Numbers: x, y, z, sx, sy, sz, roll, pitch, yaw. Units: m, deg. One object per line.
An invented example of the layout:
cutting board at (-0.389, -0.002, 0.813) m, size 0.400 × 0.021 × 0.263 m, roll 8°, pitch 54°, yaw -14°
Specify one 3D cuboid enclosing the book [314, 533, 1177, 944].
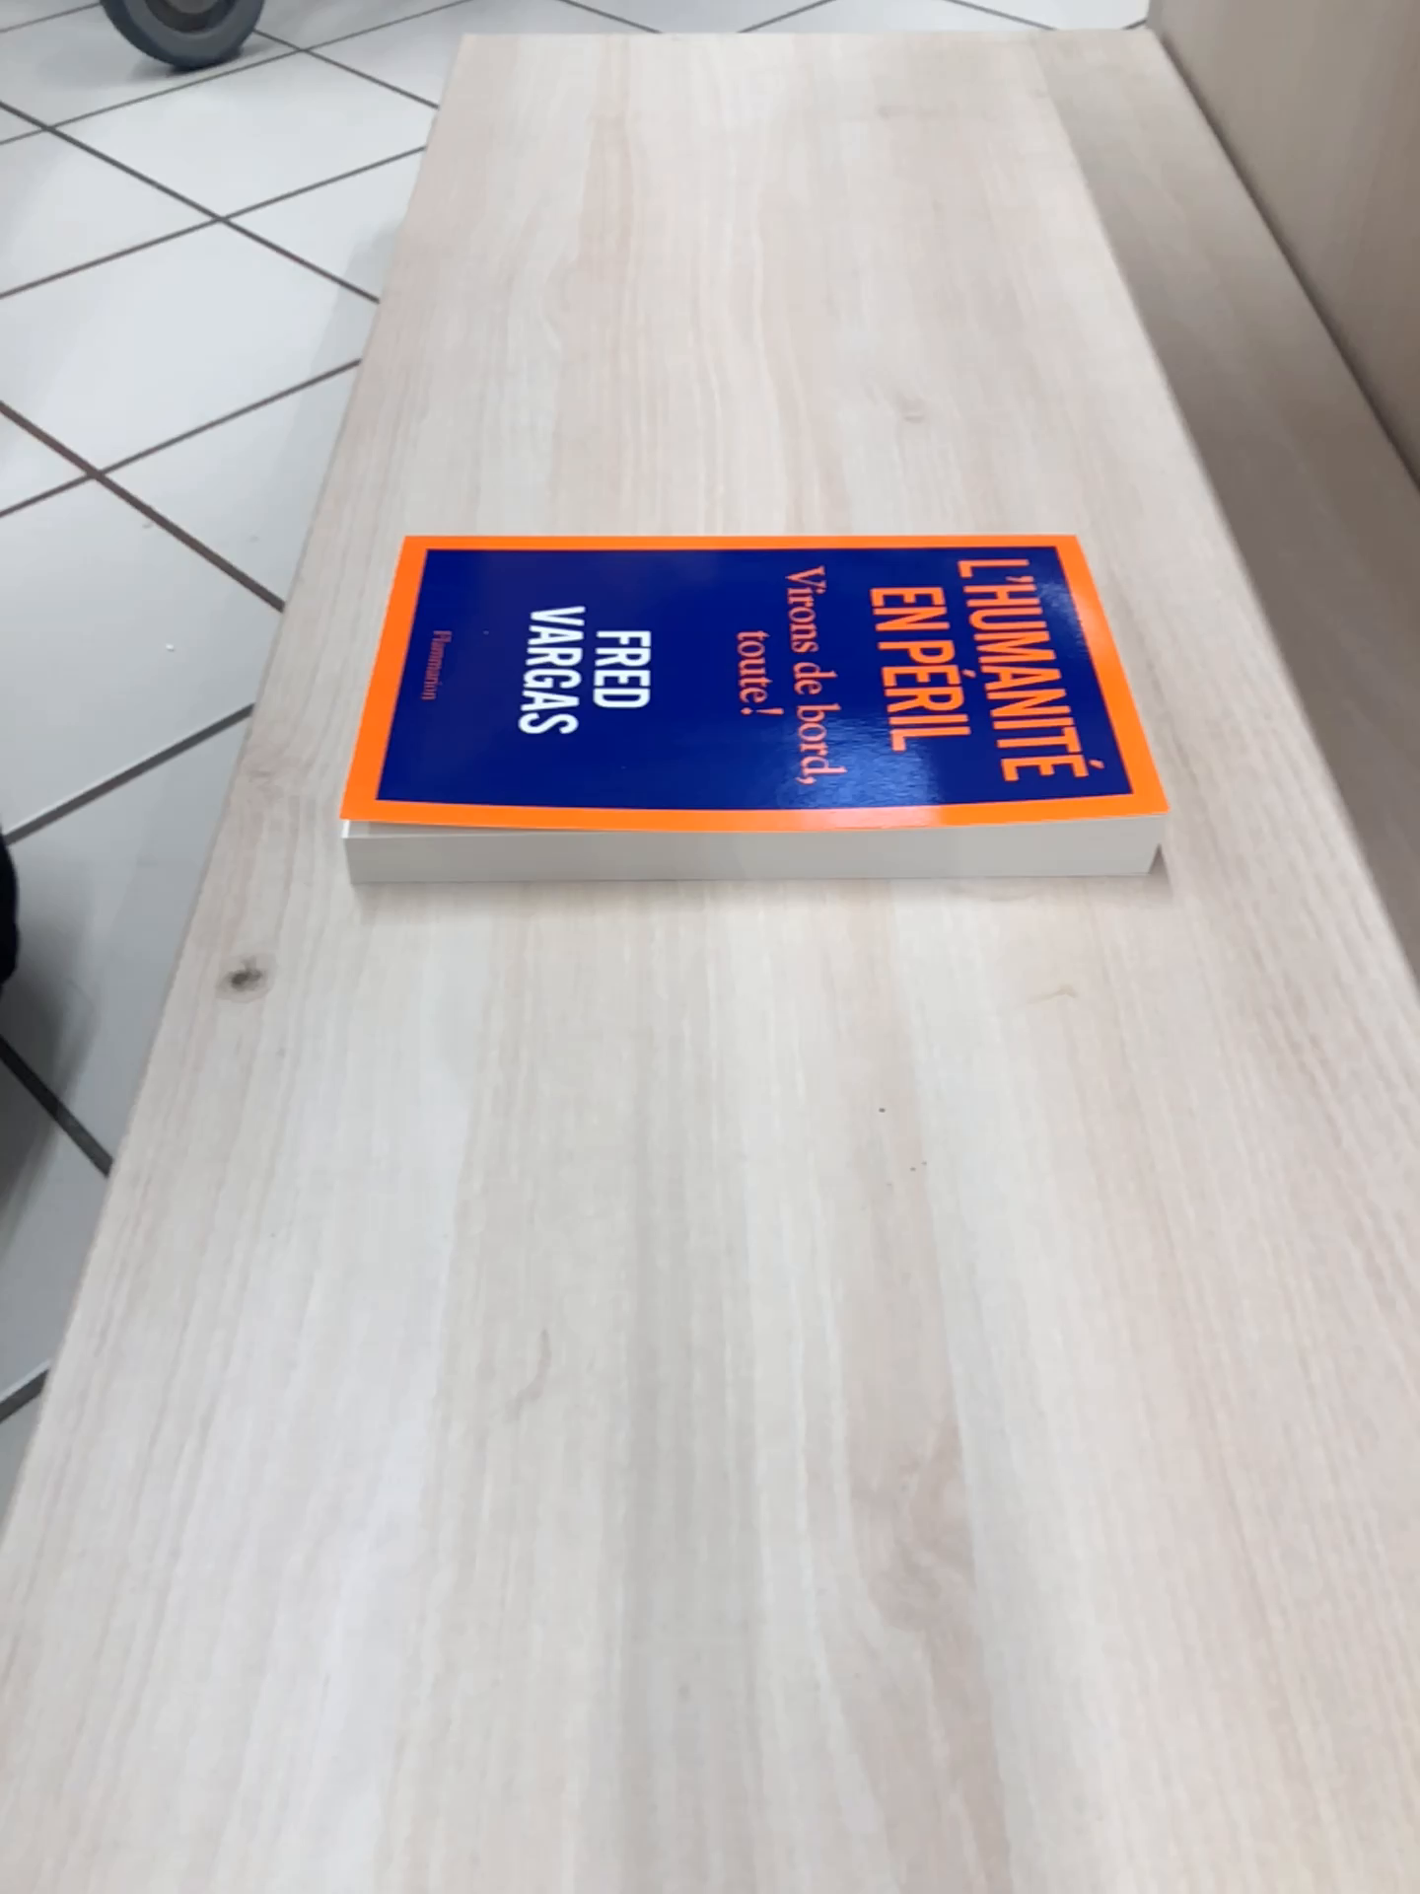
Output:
book at (0.008, -0.063, 0.433) m, size 0.207 × 0.030 × 0.138 m, roll -1°, pitch 46°, yaw -1°
